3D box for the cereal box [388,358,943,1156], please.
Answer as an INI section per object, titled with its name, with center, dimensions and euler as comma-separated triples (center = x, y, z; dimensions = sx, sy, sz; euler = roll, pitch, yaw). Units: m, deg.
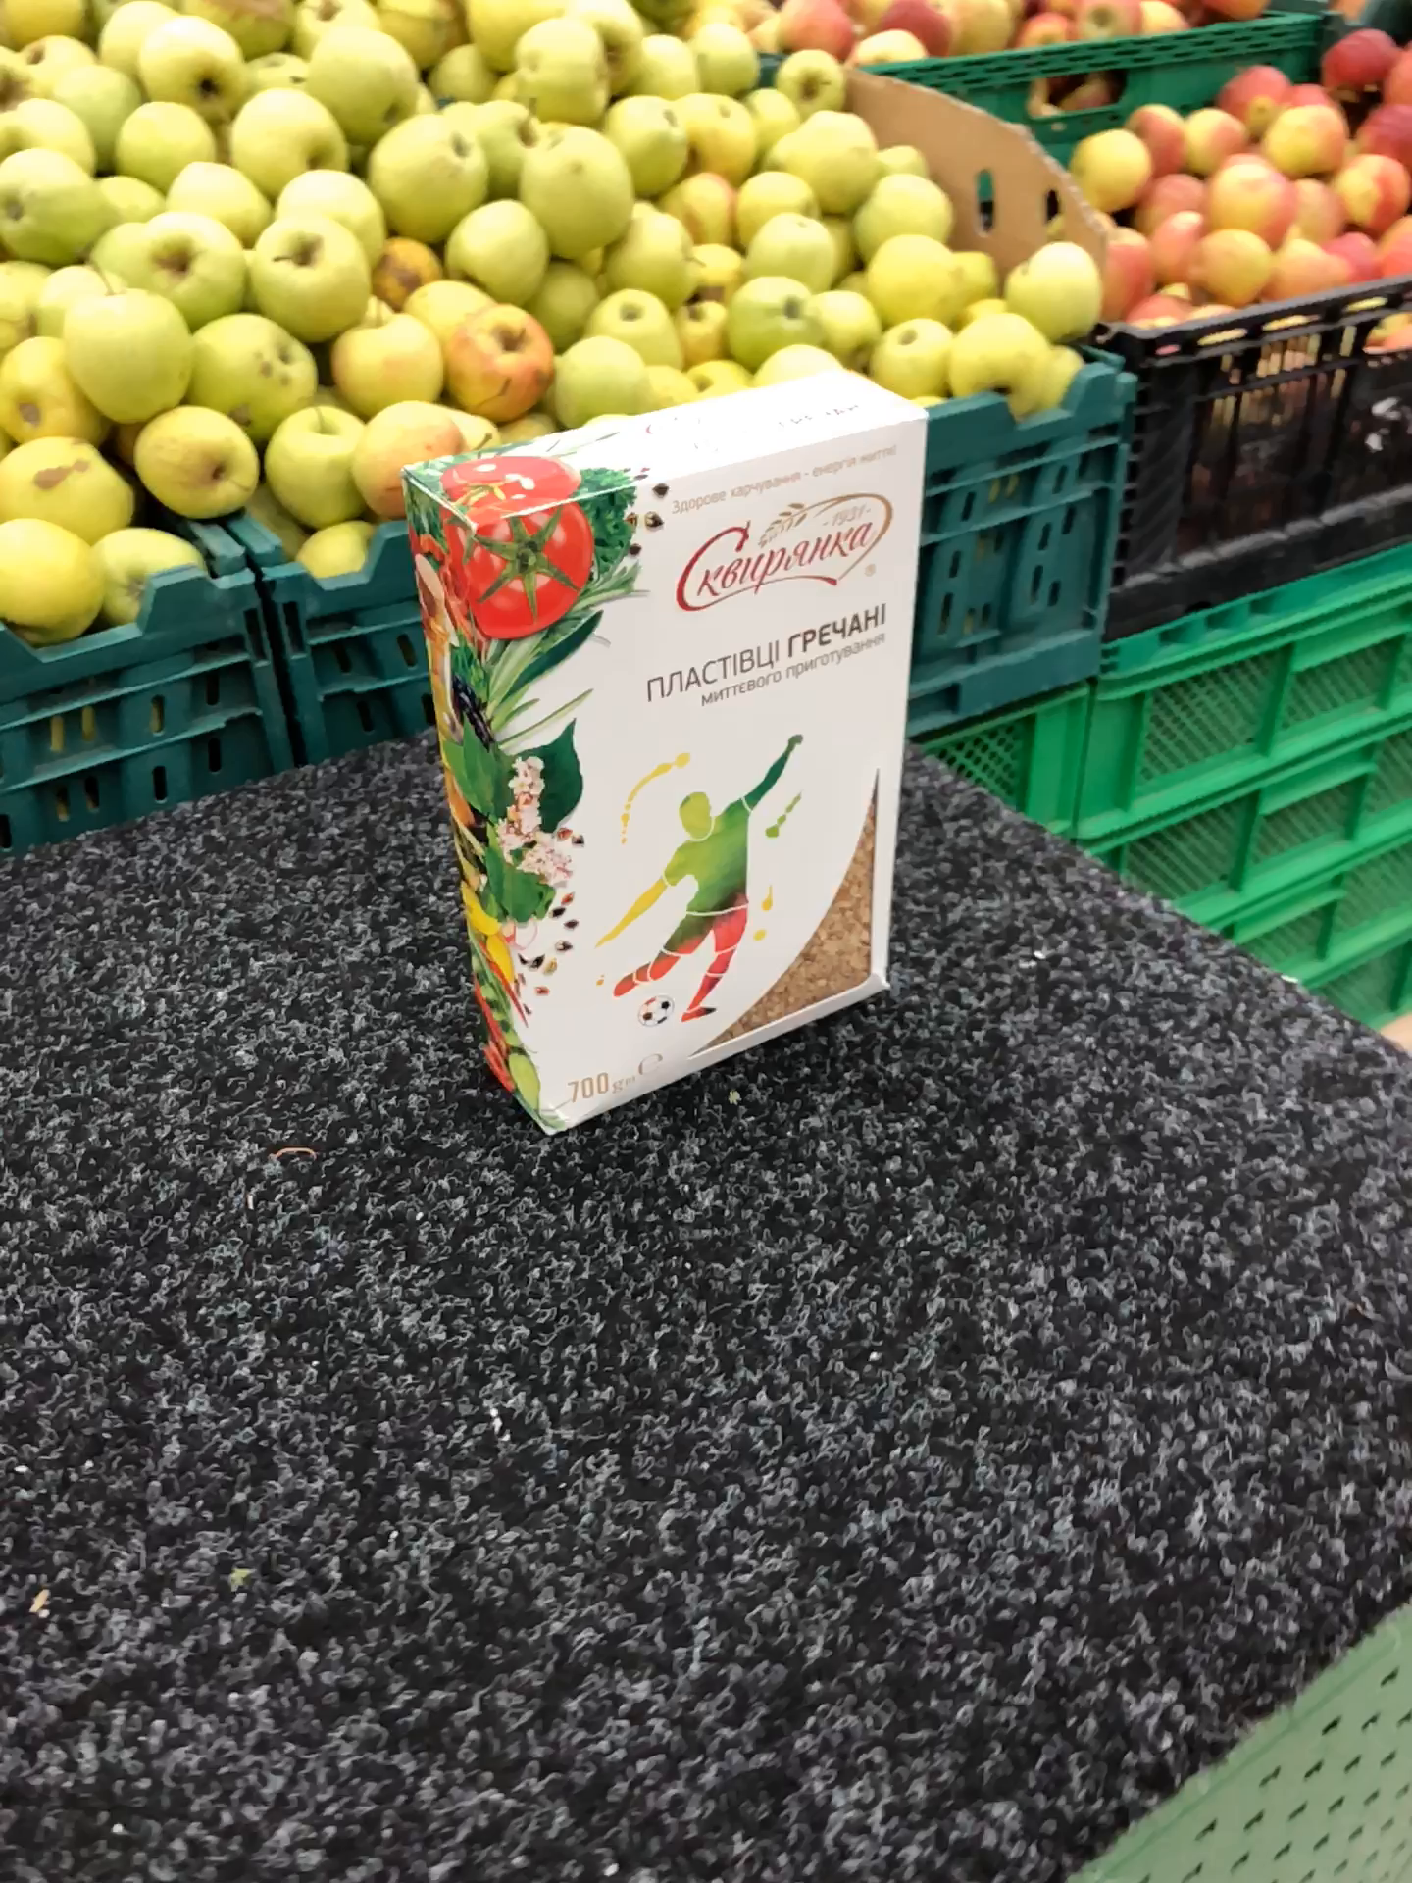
[cereal box]
center = -0.008, -0.060, 0.542
dimensions = 0.160, 0.238, 0.060
euler = -21, 41, -24
